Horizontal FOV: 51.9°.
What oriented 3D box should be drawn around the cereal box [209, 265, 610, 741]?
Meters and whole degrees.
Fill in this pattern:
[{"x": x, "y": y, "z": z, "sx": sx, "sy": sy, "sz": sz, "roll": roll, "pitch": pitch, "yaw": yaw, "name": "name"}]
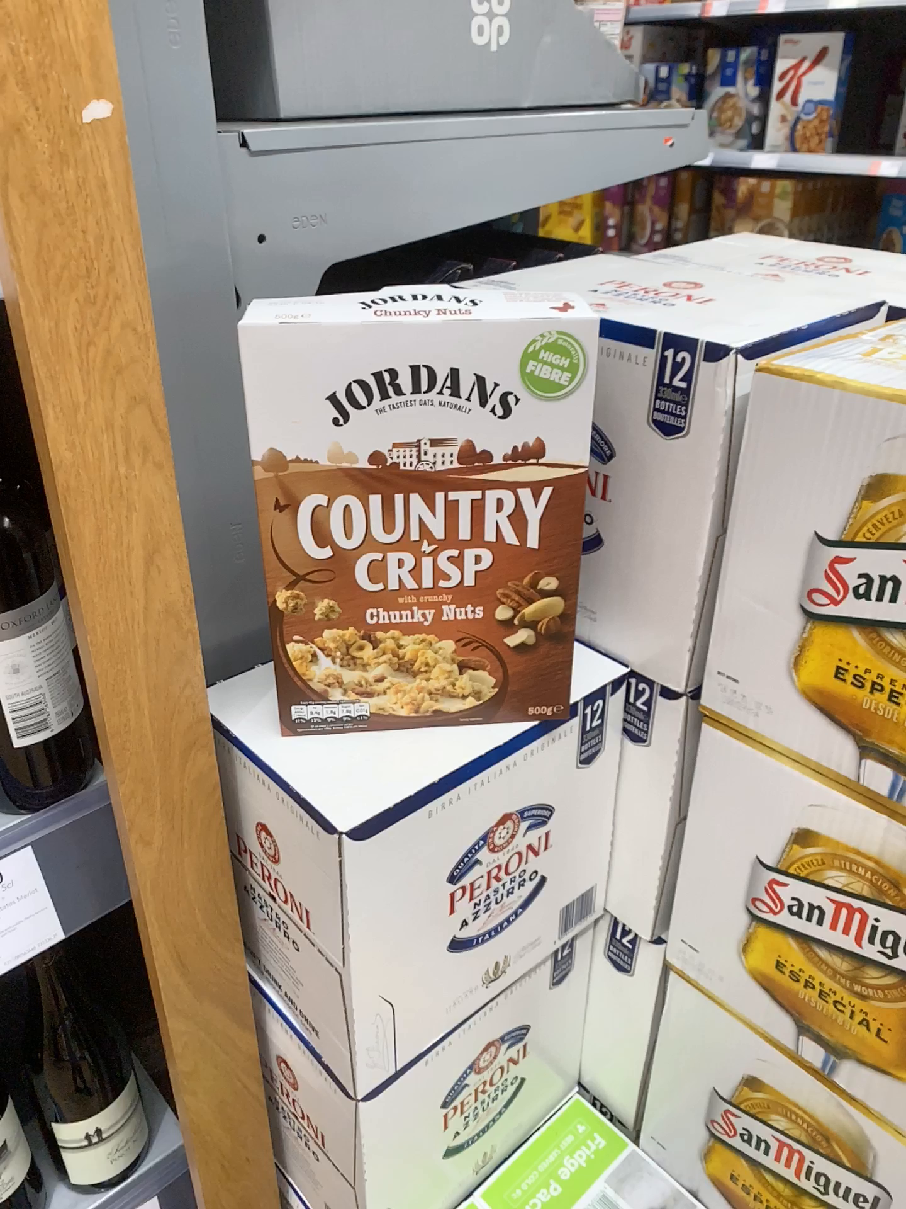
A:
[{"x": -0.021, "y": -0.049, "z": 0.524, "sx": 0.190, "sy": 0.258, "sz": 0.050, "roll": -3, "pitch": 28, "yaw": -5, "name": "cereal box"}]
